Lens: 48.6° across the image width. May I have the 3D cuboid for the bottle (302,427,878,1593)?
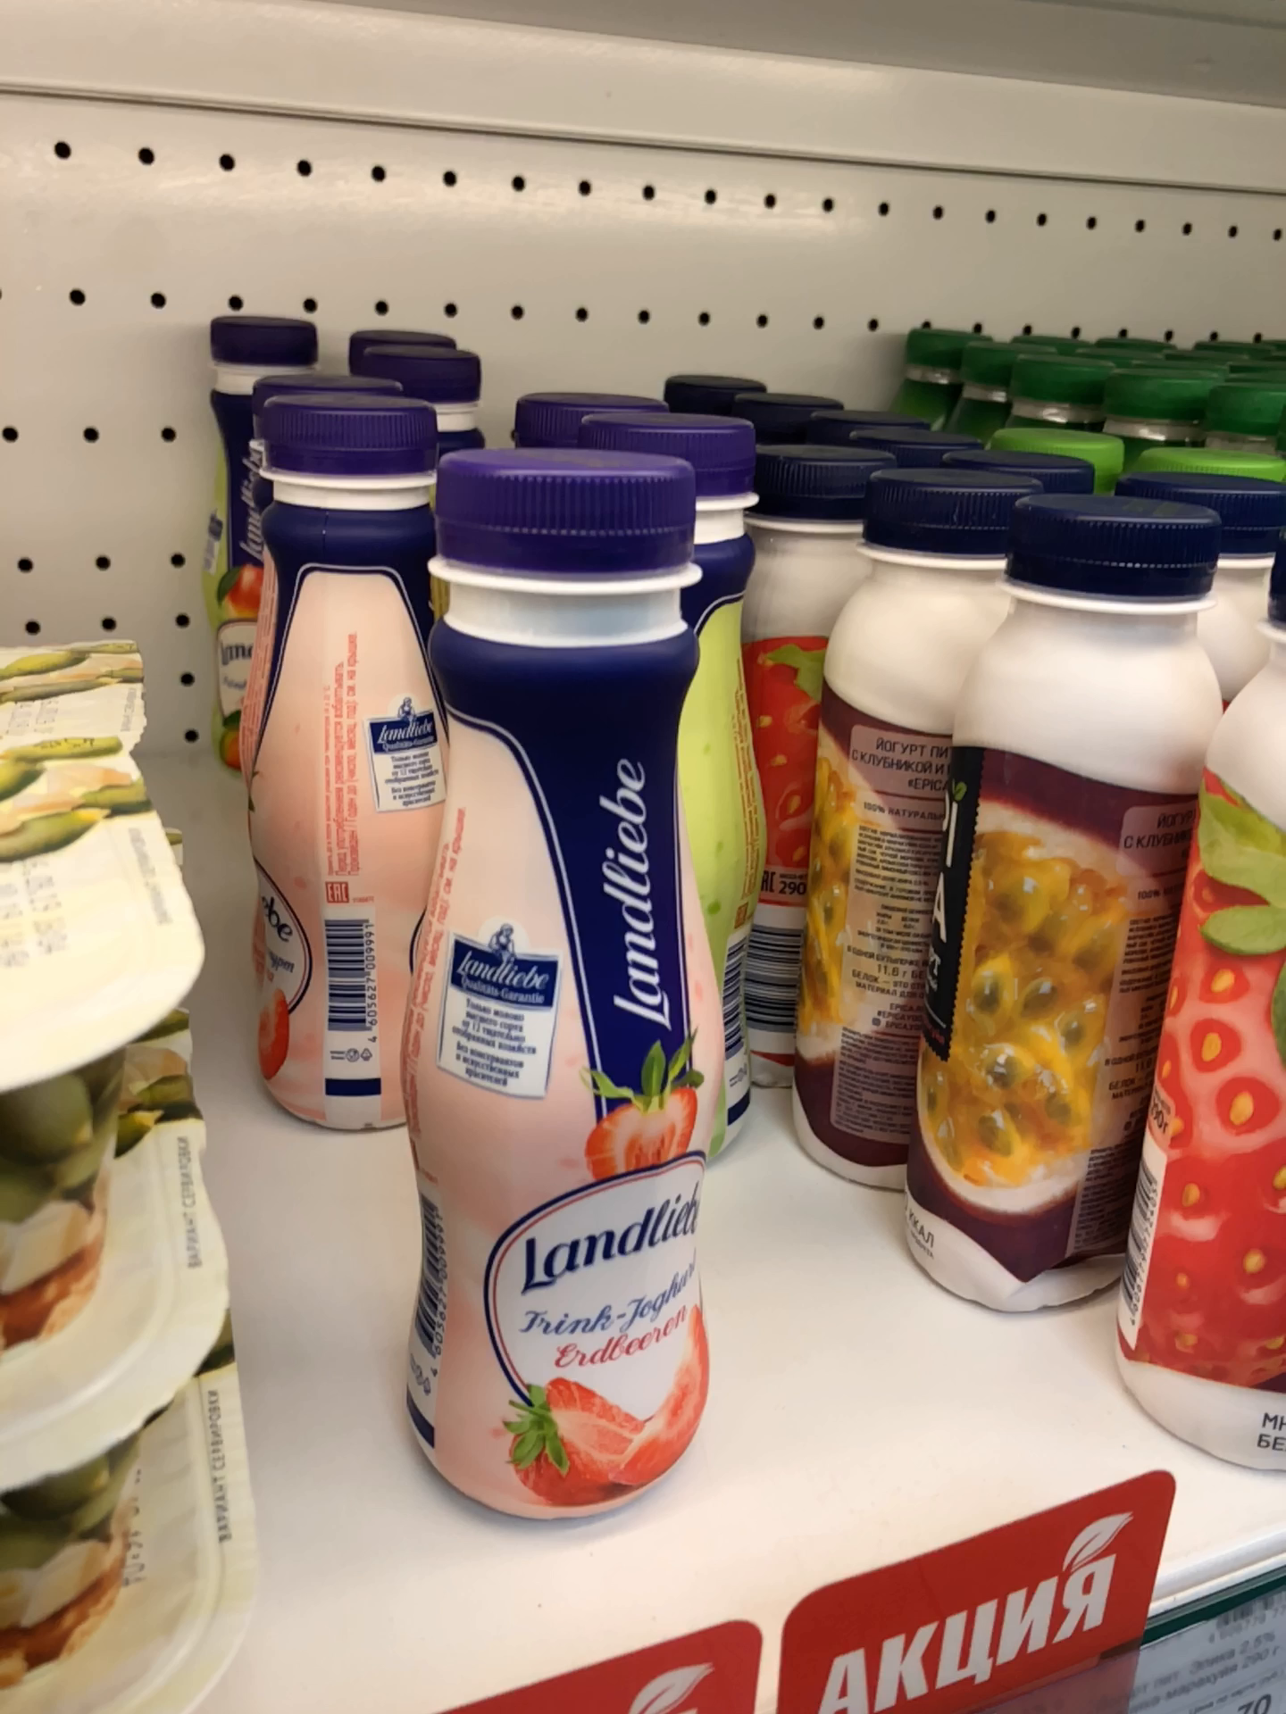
[{"bbox_3d":[-0.015,0.024,0.258,0.070,0.189,0.070,2,21,-1],"label":"bottle"}]
